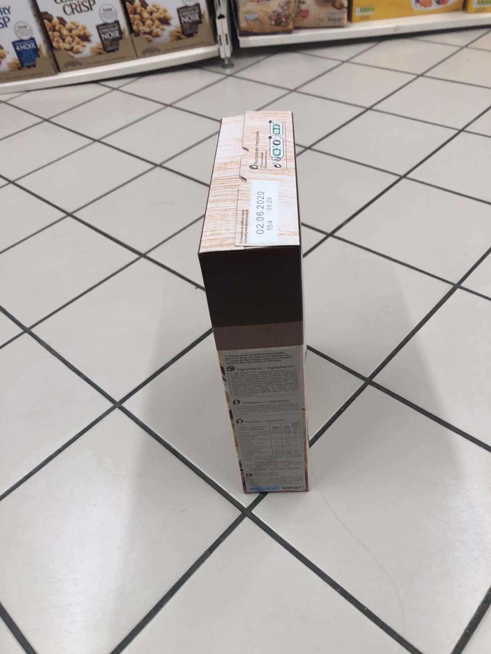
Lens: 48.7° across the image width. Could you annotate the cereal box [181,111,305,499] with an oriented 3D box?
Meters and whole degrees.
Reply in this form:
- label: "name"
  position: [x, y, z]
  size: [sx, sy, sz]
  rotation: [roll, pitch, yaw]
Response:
- label: "cereal box"
  position: [0.009, -0.011, 0.483]
  size: [0.070, 0.278, 0.201]
  rotation: [-4, 43, 3]
